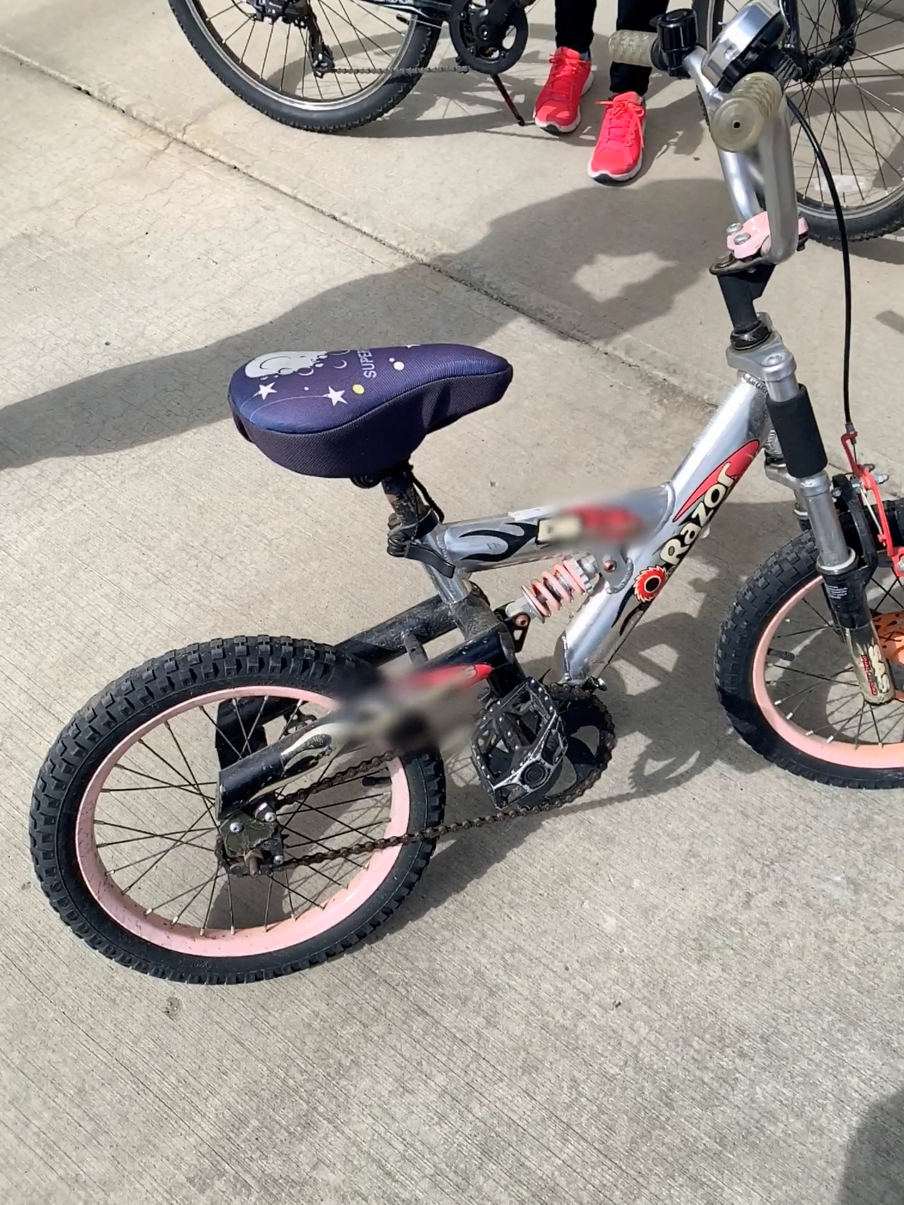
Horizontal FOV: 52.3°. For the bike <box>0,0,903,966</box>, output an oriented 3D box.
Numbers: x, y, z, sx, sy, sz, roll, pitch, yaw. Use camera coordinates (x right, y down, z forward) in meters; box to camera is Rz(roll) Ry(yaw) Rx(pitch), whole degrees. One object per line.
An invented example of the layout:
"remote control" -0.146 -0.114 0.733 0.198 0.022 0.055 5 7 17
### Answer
"bike" 0.140 -0.115 0.869 1.123 0.692 0.359 -14 55 -14
